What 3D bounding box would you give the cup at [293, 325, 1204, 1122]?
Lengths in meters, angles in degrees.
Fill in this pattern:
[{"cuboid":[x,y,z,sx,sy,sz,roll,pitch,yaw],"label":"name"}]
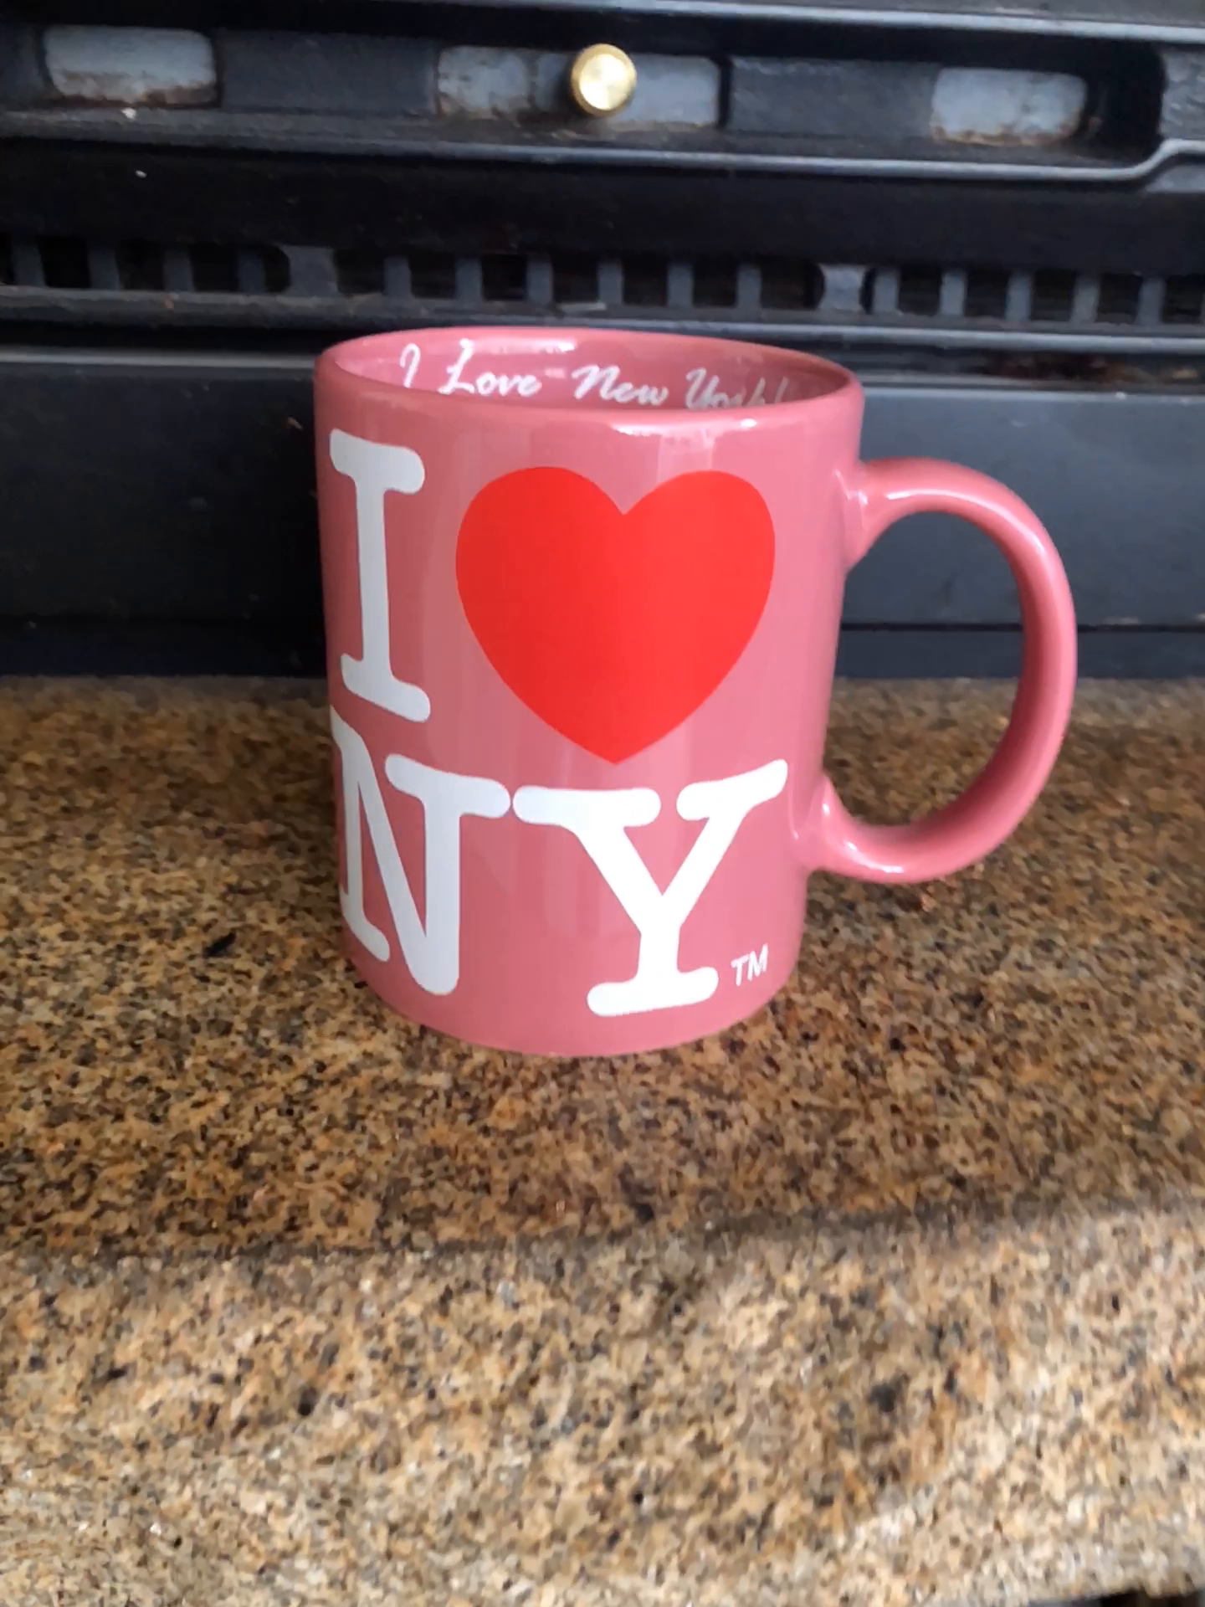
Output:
[{"cuboid":[0.017,-0.020,0.223,0.120,0.099,0.090,-1,26,-8],"label":"cup"}]
